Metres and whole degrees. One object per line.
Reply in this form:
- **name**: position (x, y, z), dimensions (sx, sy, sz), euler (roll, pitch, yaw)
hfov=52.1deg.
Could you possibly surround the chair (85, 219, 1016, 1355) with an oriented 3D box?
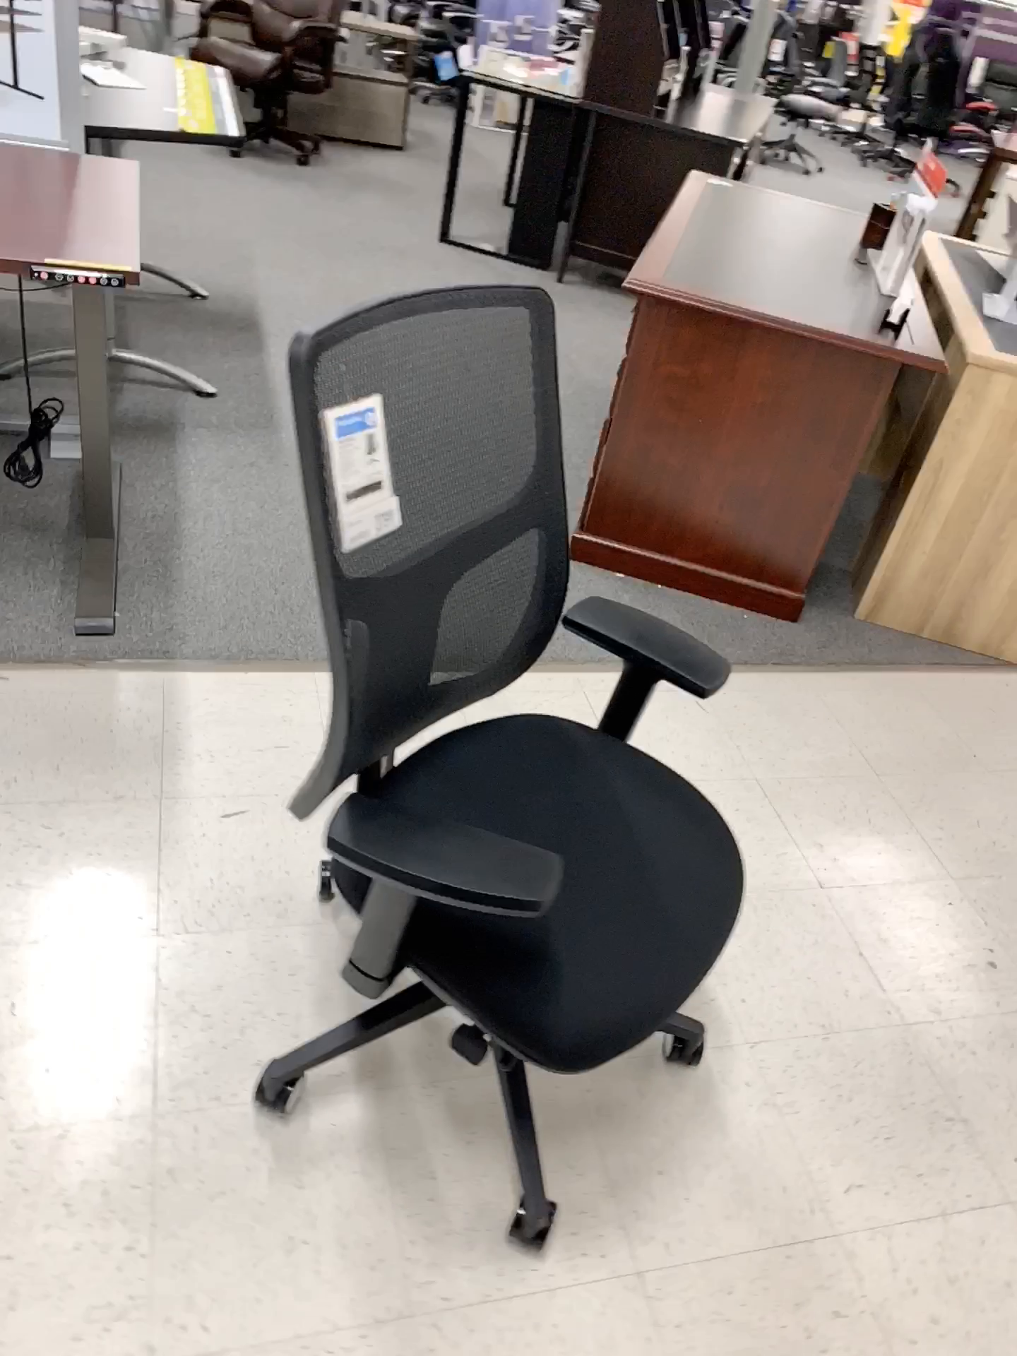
- **chair**: position (0.045, 0.097, 1.275), dimensions (0.731, 0.995, 0.703), euler (30, 39, 22)
